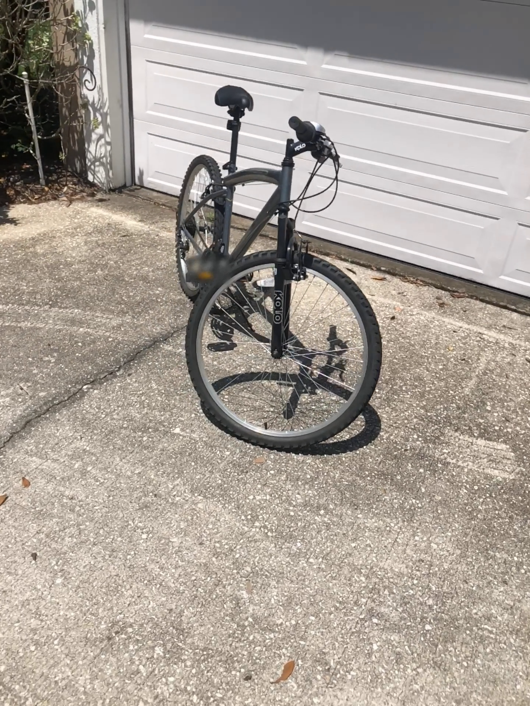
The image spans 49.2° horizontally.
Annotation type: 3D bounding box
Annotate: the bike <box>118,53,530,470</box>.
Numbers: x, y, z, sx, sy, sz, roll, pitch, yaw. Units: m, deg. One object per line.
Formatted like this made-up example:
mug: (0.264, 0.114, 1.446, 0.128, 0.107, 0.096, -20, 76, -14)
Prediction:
bike: (0.046, -0.477, 2.327, 0.679, 0.980, 1.538, -12, 39, -27)
